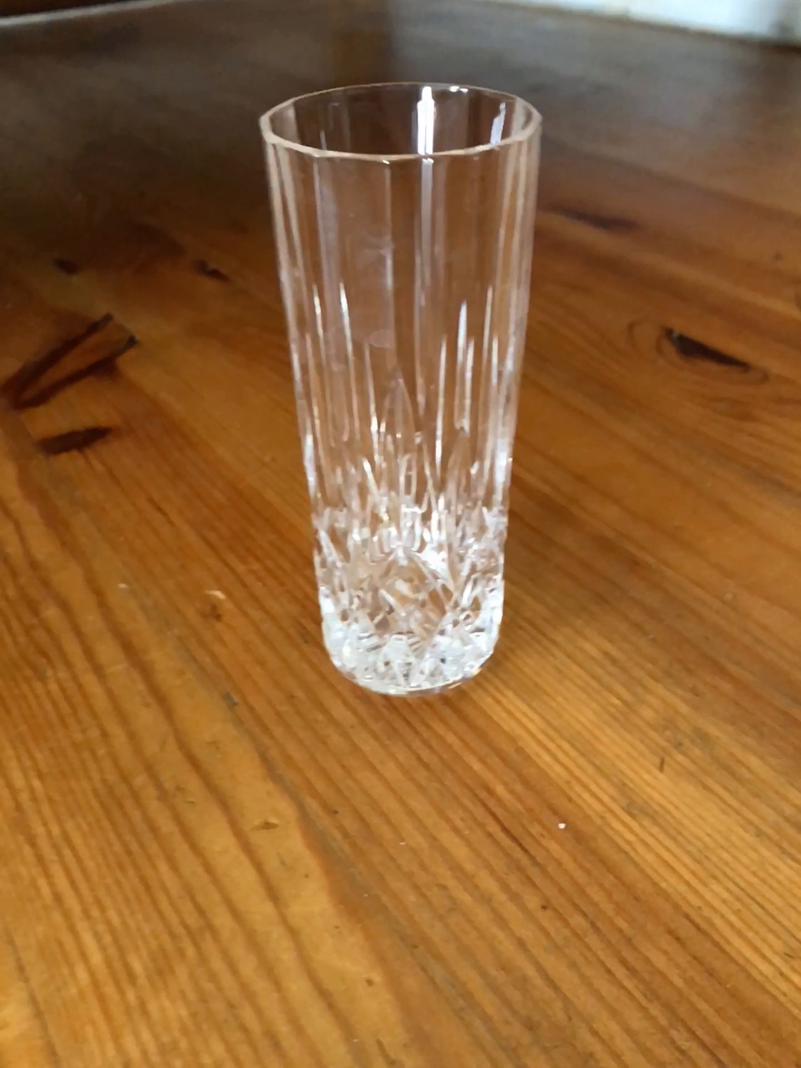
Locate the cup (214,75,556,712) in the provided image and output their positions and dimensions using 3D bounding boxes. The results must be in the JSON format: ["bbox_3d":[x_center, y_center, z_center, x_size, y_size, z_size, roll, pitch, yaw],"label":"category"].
[{"bbox_3d":[-0.002,-0.029,0.225,0.059,0.144,0.064,0,38,0],"label":"cup"}]
